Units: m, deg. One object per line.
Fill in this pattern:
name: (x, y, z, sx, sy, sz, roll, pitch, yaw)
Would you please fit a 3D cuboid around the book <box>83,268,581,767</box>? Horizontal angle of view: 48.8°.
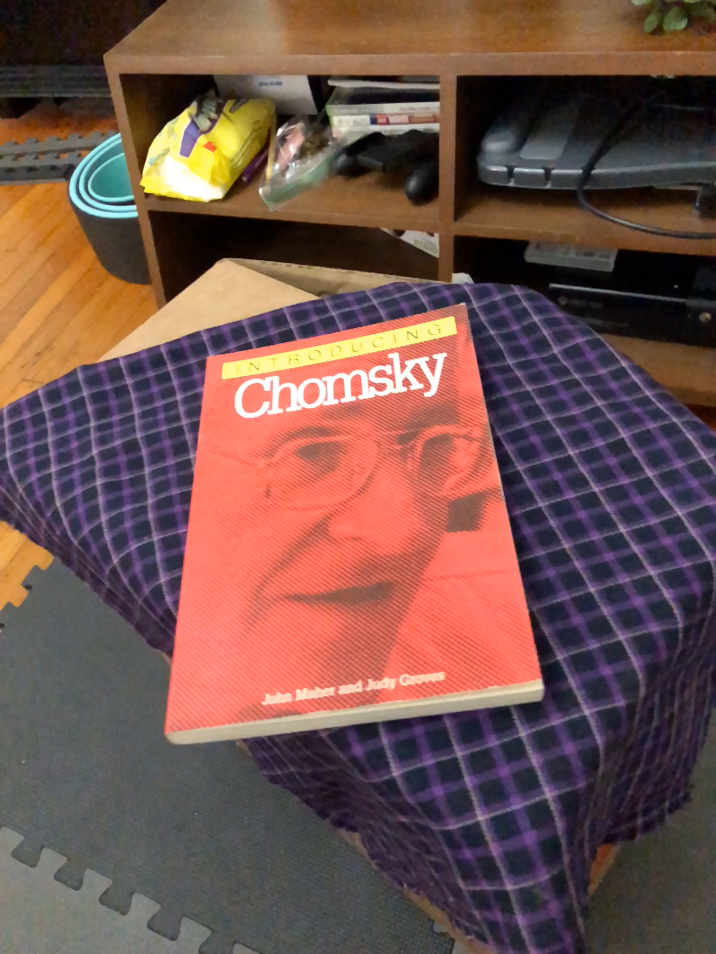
book: (-0.017, 0.000, 0.365, 0.180, 0.020, 0.241, -9, 49, 6)
